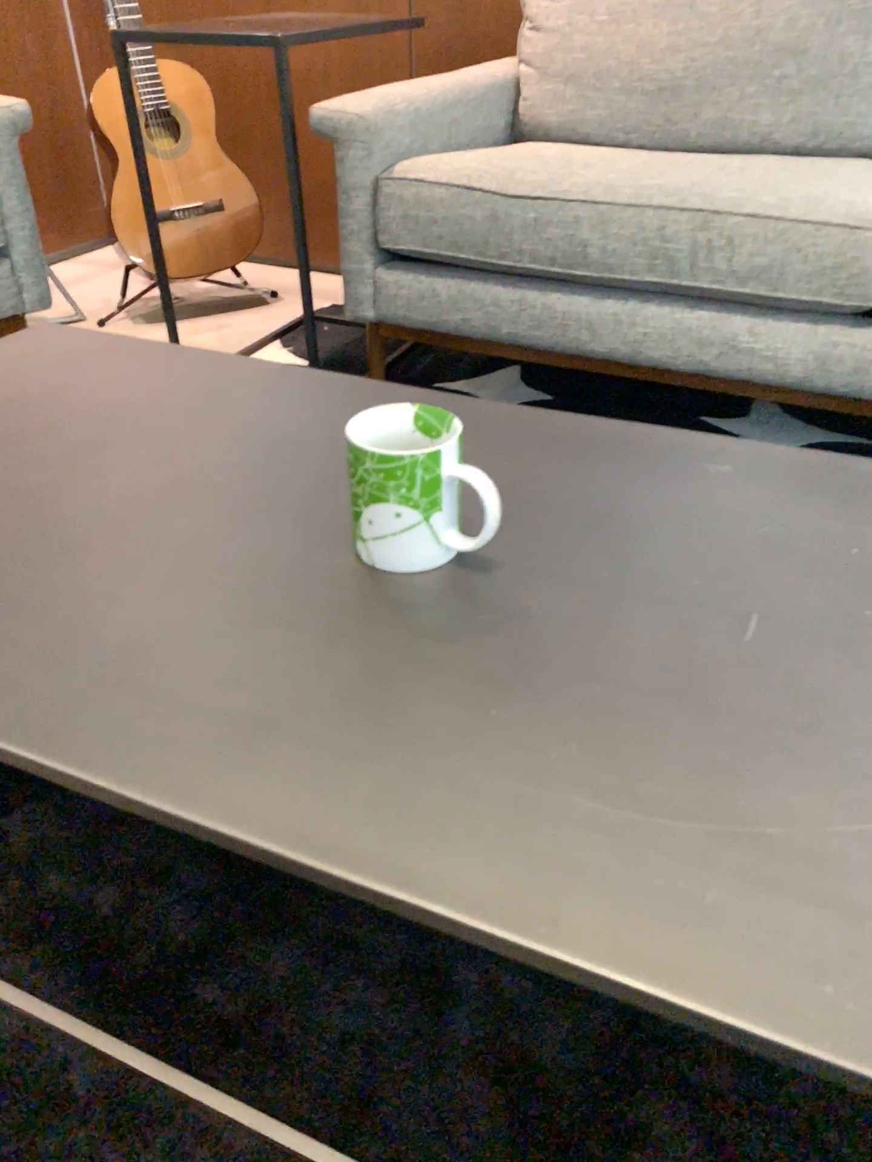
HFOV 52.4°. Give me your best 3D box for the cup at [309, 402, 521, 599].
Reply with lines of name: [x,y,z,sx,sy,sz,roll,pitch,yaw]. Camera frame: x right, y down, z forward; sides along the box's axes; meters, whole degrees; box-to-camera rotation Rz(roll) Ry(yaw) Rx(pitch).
cup: [-0.011,-0.059,0.621,0.120,0.090,0.090,10,36,15]
